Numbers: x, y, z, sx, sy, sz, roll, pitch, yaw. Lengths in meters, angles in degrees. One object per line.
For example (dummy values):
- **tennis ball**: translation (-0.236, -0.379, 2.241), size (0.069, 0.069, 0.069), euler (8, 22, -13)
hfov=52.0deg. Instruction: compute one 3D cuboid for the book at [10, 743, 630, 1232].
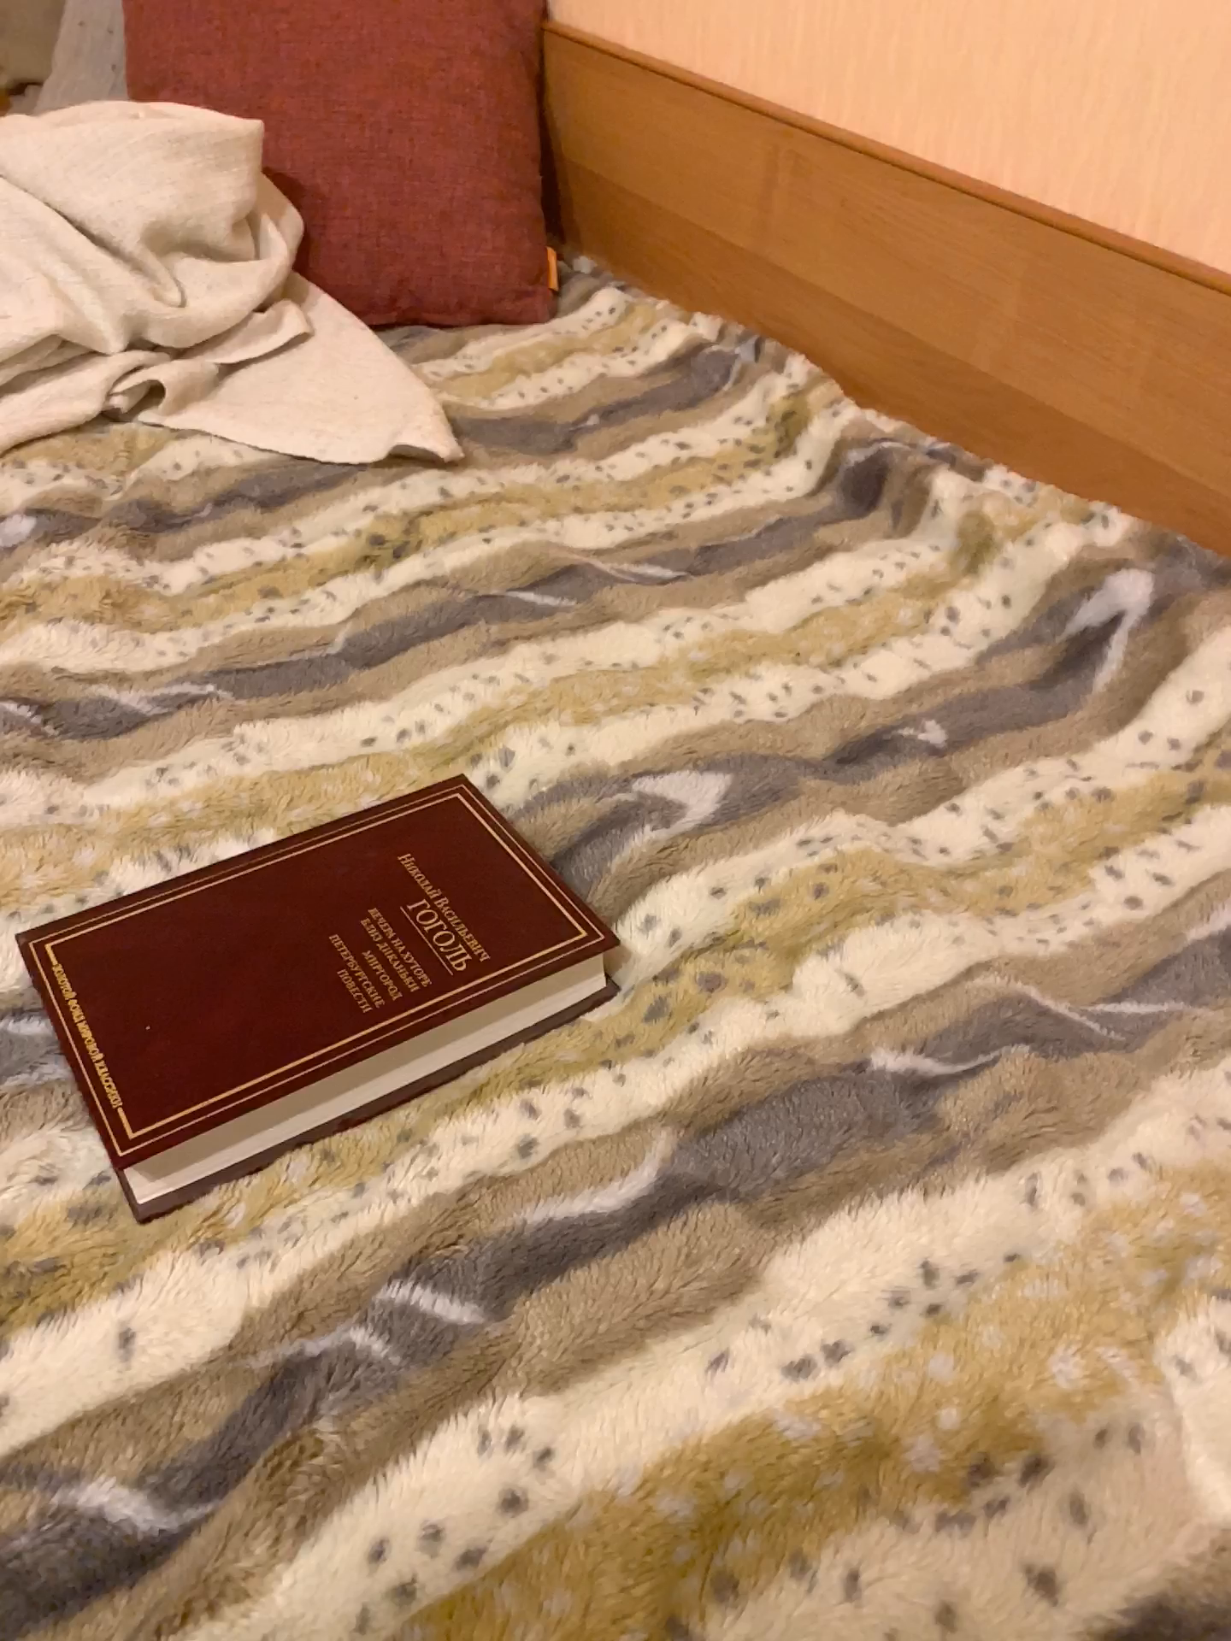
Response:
- **book**: translation (-0.123, 0.055, 0.534), size (0.211, 0.040, 0.150), euler (-23, 45, -26)
